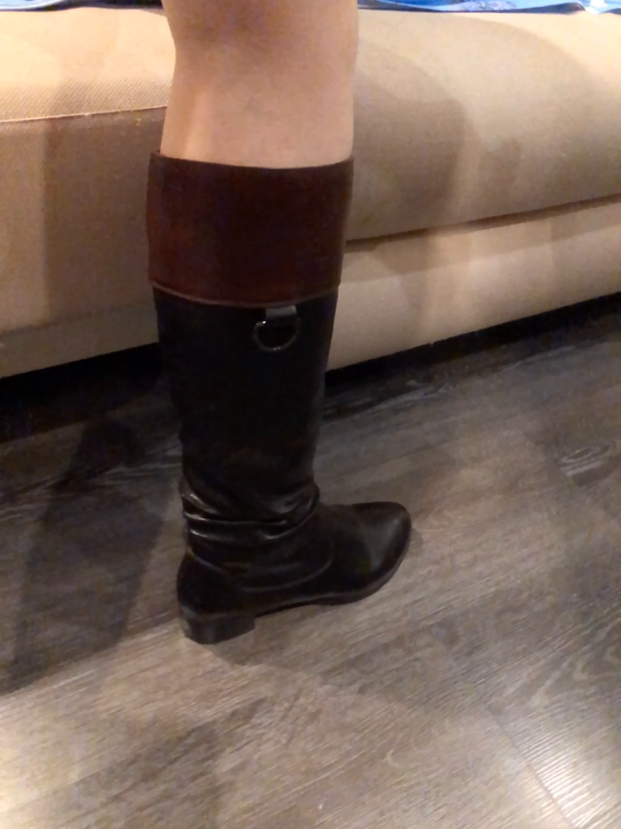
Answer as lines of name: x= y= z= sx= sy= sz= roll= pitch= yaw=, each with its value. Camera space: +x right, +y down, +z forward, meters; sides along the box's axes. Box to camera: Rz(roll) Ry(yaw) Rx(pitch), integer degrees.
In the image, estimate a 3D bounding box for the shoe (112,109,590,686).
shoe: x=0.016 y=0.004 z=0.542 sx=0.271 sy=0.417 sz=0.111 roll=-17 pitch=45 yaw=-25
